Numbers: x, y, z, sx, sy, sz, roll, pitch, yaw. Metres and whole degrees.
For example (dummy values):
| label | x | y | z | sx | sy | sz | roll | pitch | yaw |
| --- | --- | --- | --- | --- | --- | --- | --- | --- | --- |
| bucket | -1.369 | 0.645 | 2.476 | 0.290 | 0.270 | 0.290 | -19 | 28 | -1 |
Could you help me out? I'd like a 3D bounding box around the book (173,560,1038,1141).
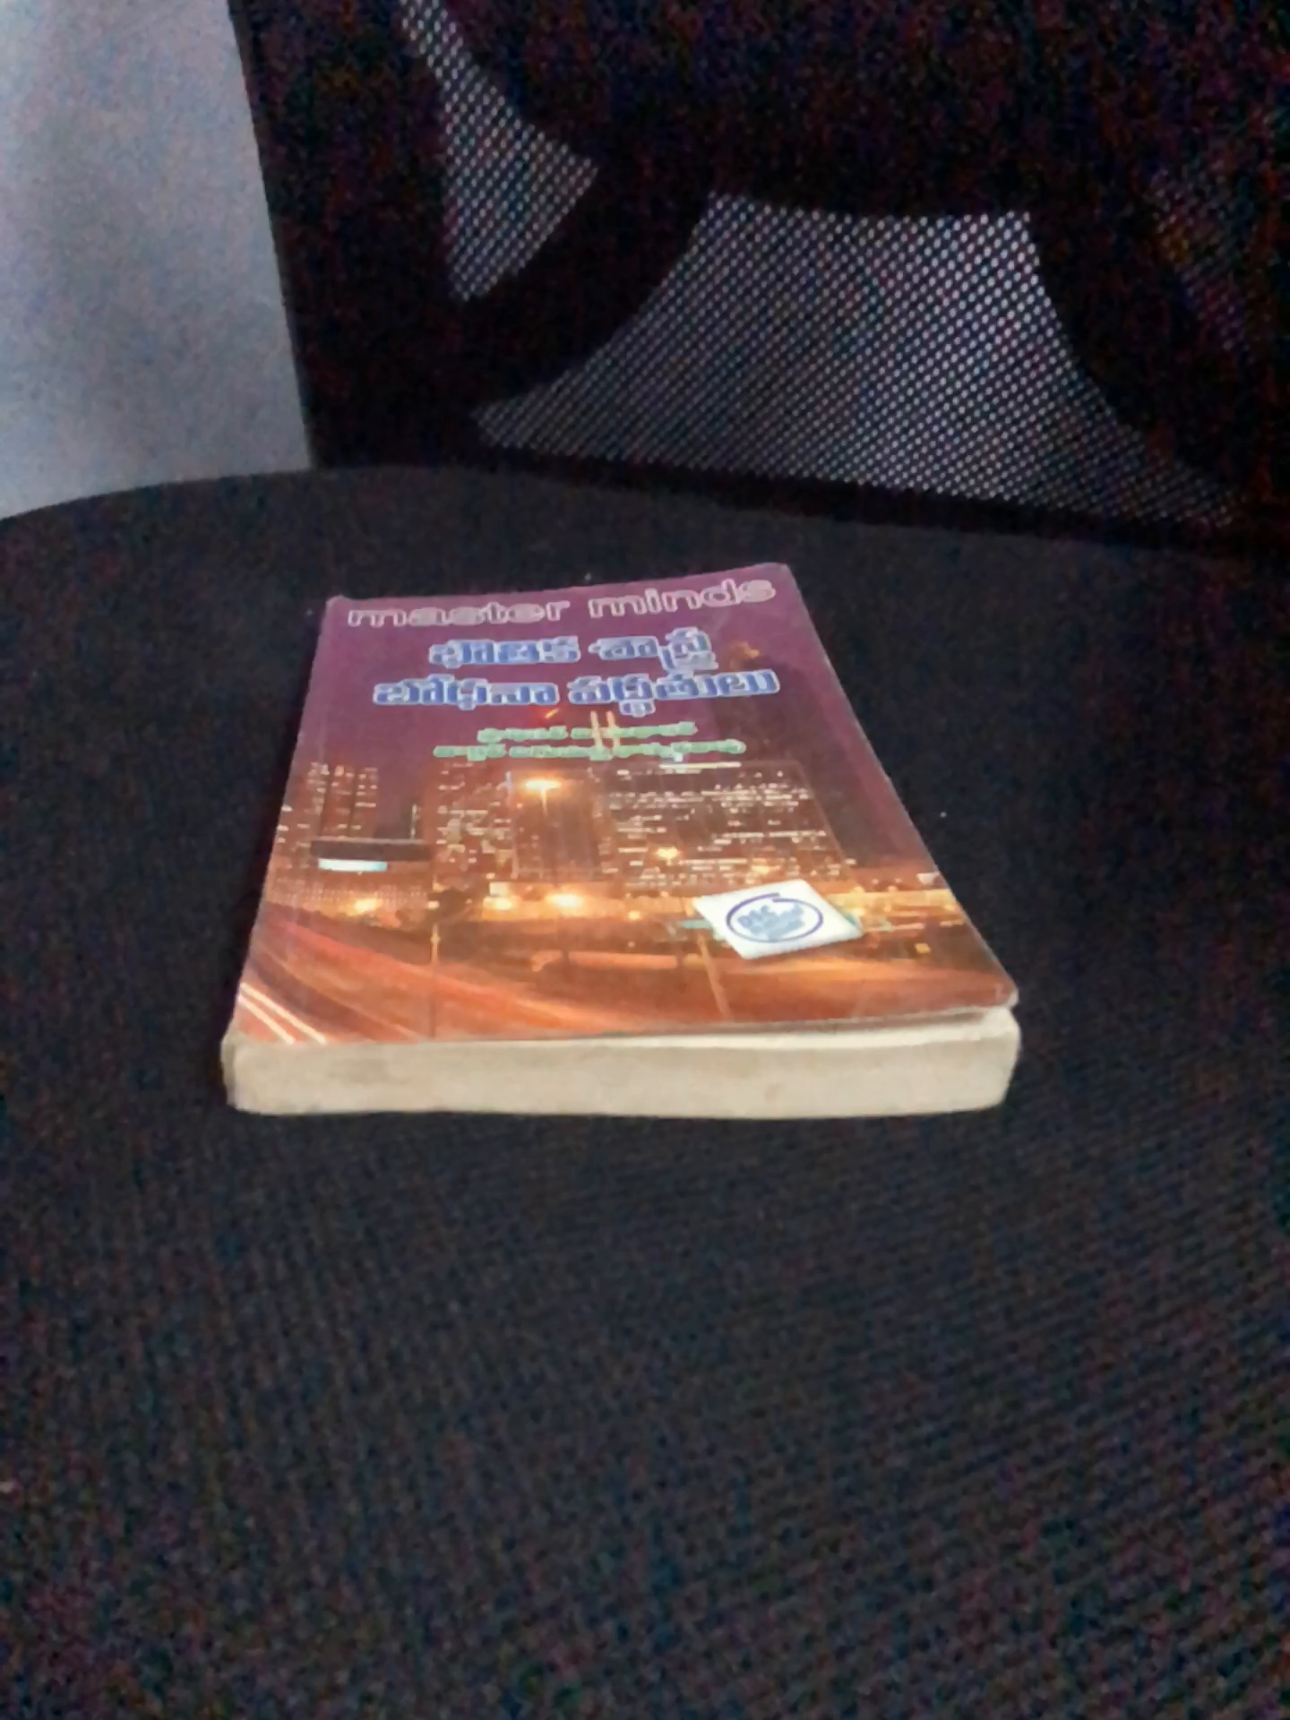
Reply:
| label | x | y | z | sx | sy | sz | roll | pitch | yaw |
| --- | --- | --- | --- | --- | --- | --- | --- | --- | --- |
| book | -0.018 | -0.019 | 0.338 | 0.145 | 0.027 | 0.219 | 1 | 30 | -9 |
